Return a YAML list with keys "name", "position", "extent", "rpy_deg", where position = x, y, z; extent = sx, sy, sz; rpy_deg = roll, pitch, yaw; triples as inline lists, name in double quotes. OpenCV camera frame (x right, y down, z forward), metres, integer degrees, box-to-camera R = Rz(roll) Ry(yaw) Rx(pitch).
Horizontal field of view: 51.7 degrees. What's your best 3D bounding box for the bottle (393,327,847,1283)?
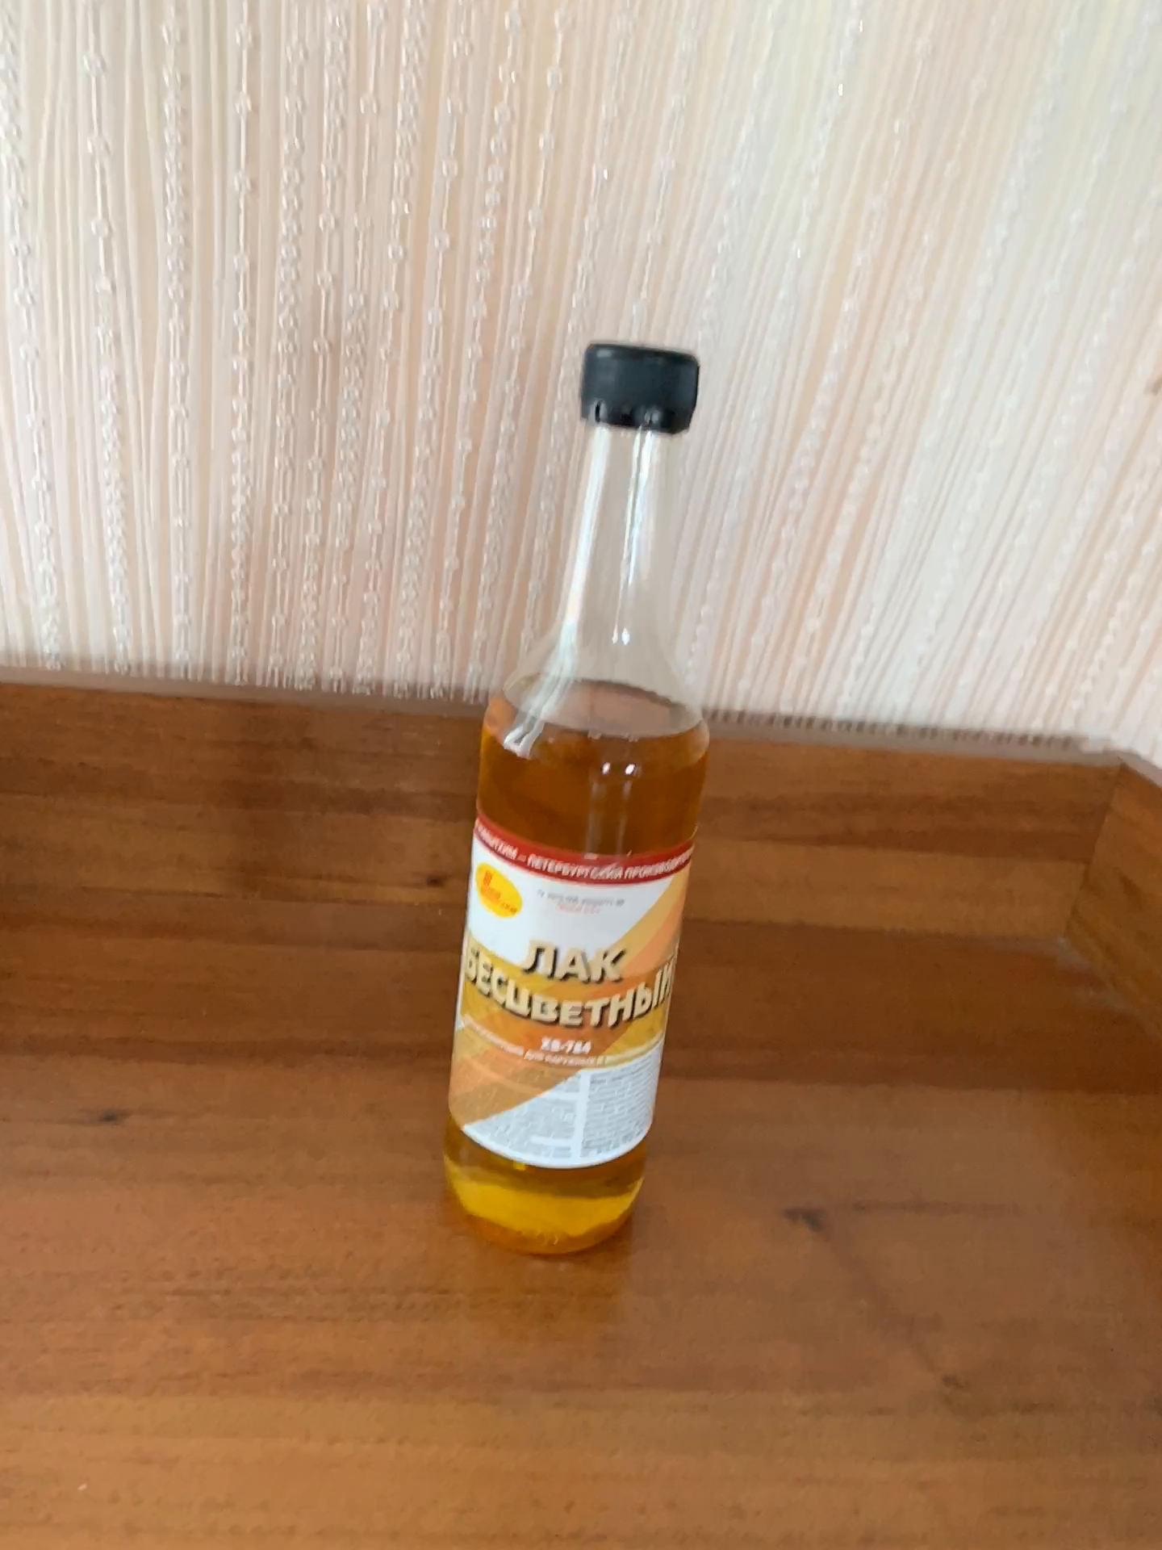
- name: "bottle"
  position: [0.001, 0.014, 0.345]
  extent: [0.080, 0.258, 0.070]
  rpy_deg: [7, 19, -5]
